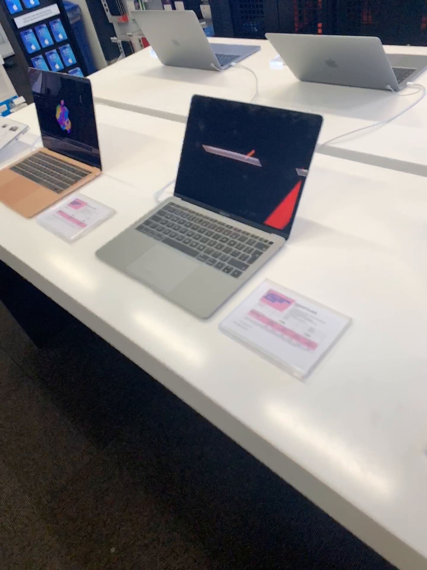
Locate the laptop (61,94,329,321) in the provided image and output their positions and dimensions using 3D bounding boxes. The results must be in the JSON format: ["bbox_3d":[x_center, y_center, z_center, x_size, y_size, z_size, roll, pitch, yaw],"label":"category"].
[{"bbox_3d":[-0.019,-0.160,0.737,0.291,0.160,0.329,27,57,36],"label":"laptop"}]
